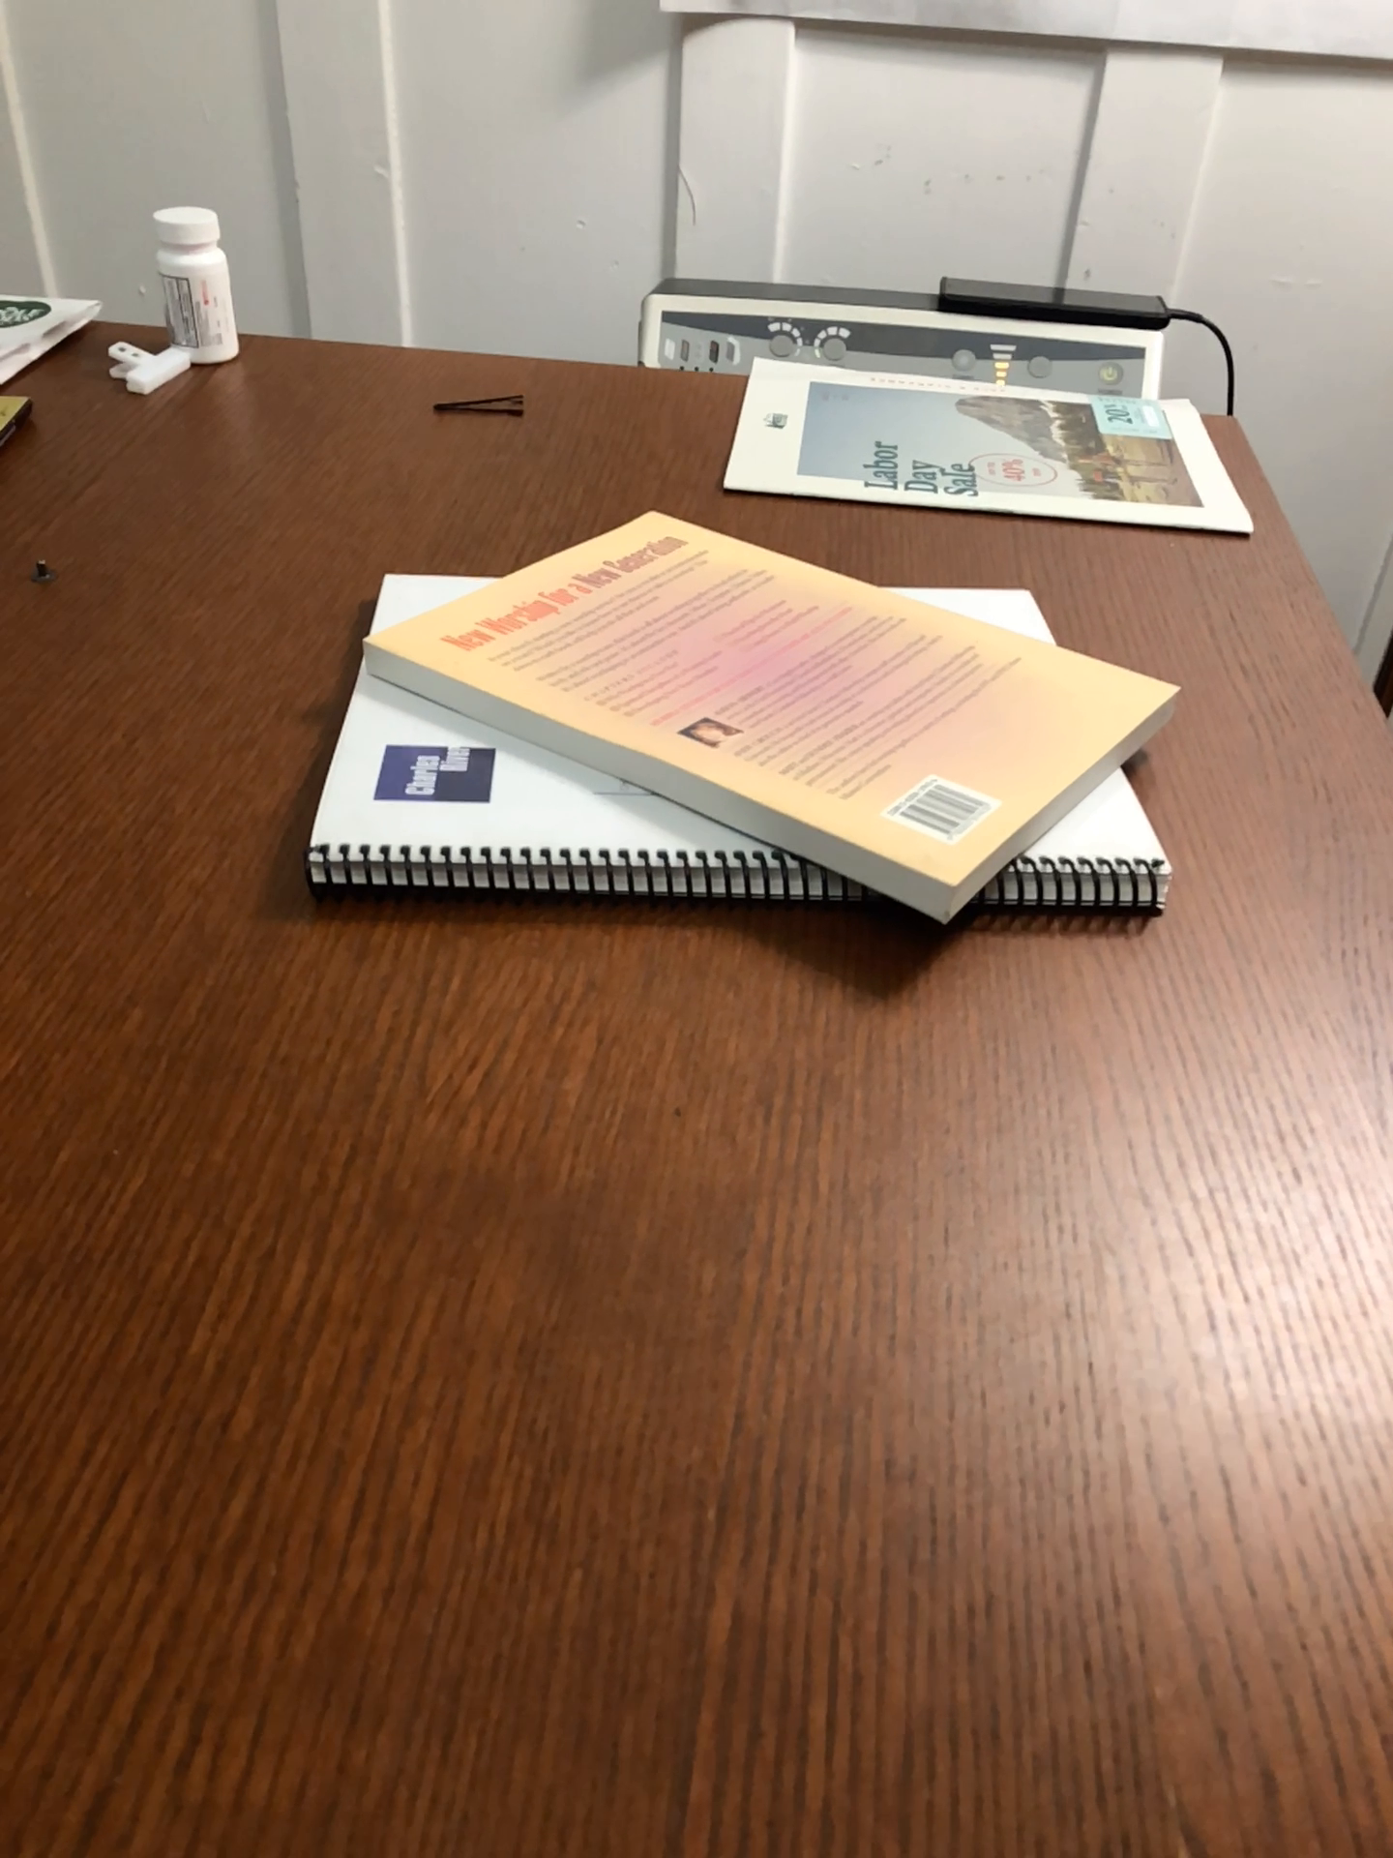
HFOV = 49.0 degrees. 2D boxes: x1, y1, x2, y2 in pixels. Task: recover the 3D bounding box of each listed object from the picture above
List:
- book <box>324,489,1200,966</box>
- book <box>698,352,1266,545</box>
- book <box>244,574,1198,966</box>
[{"bbox_3d":[0.025,-0.092,0.567,0.260,0.020,0.191,26,43,26],"label":"book"},{"bbox_3d":[0.144,-0.261,0.813,0.270,0.010,0.201,5,37,2],"label":"book"},{"bbox_3d":[0.004,-0.068,0.561,0.290,0.020,0.231,1,37,-4],"label":"book"}]
